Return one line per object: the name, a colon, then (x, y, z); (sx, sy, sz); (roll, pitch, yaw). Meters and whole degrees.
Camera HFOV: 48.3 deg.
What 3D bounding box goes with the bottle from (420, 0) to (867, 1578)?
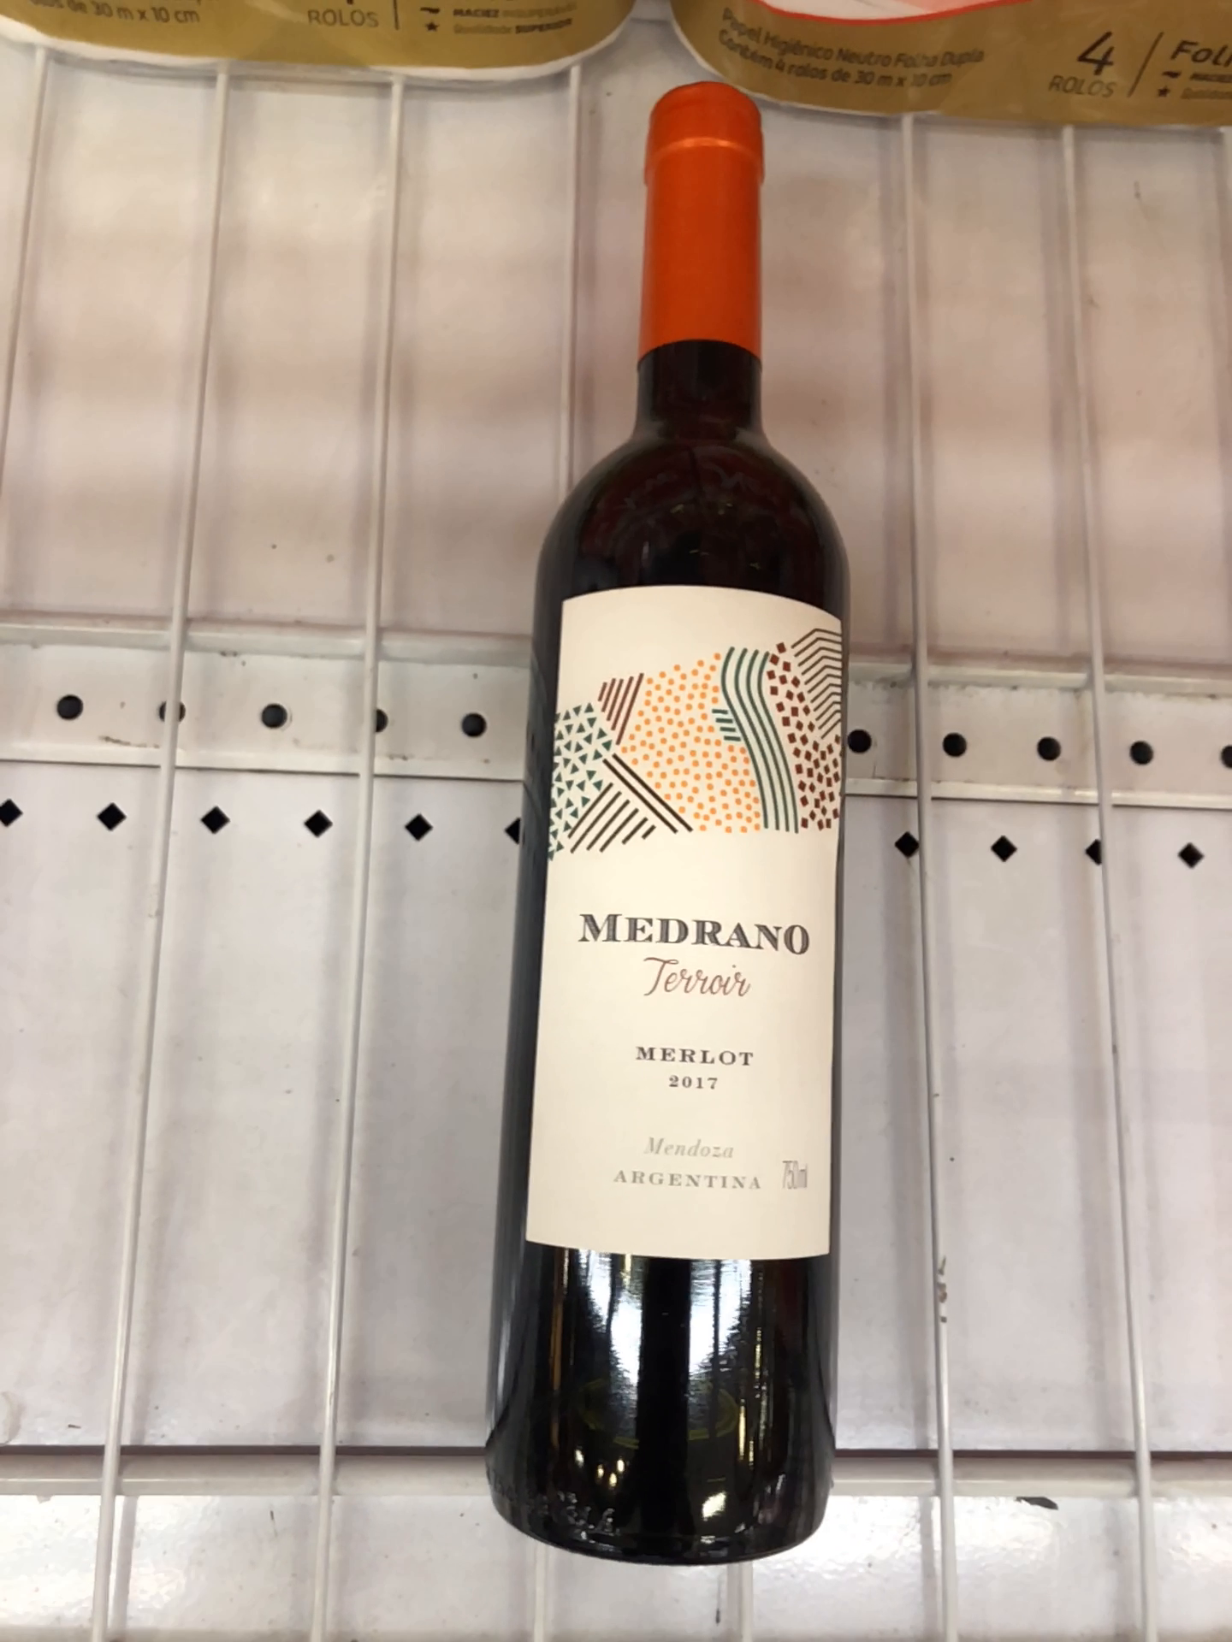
bottle: (0.009, -0.018, 0.316); (0.080, 0.070, 0.330); (3, 78, -4)
